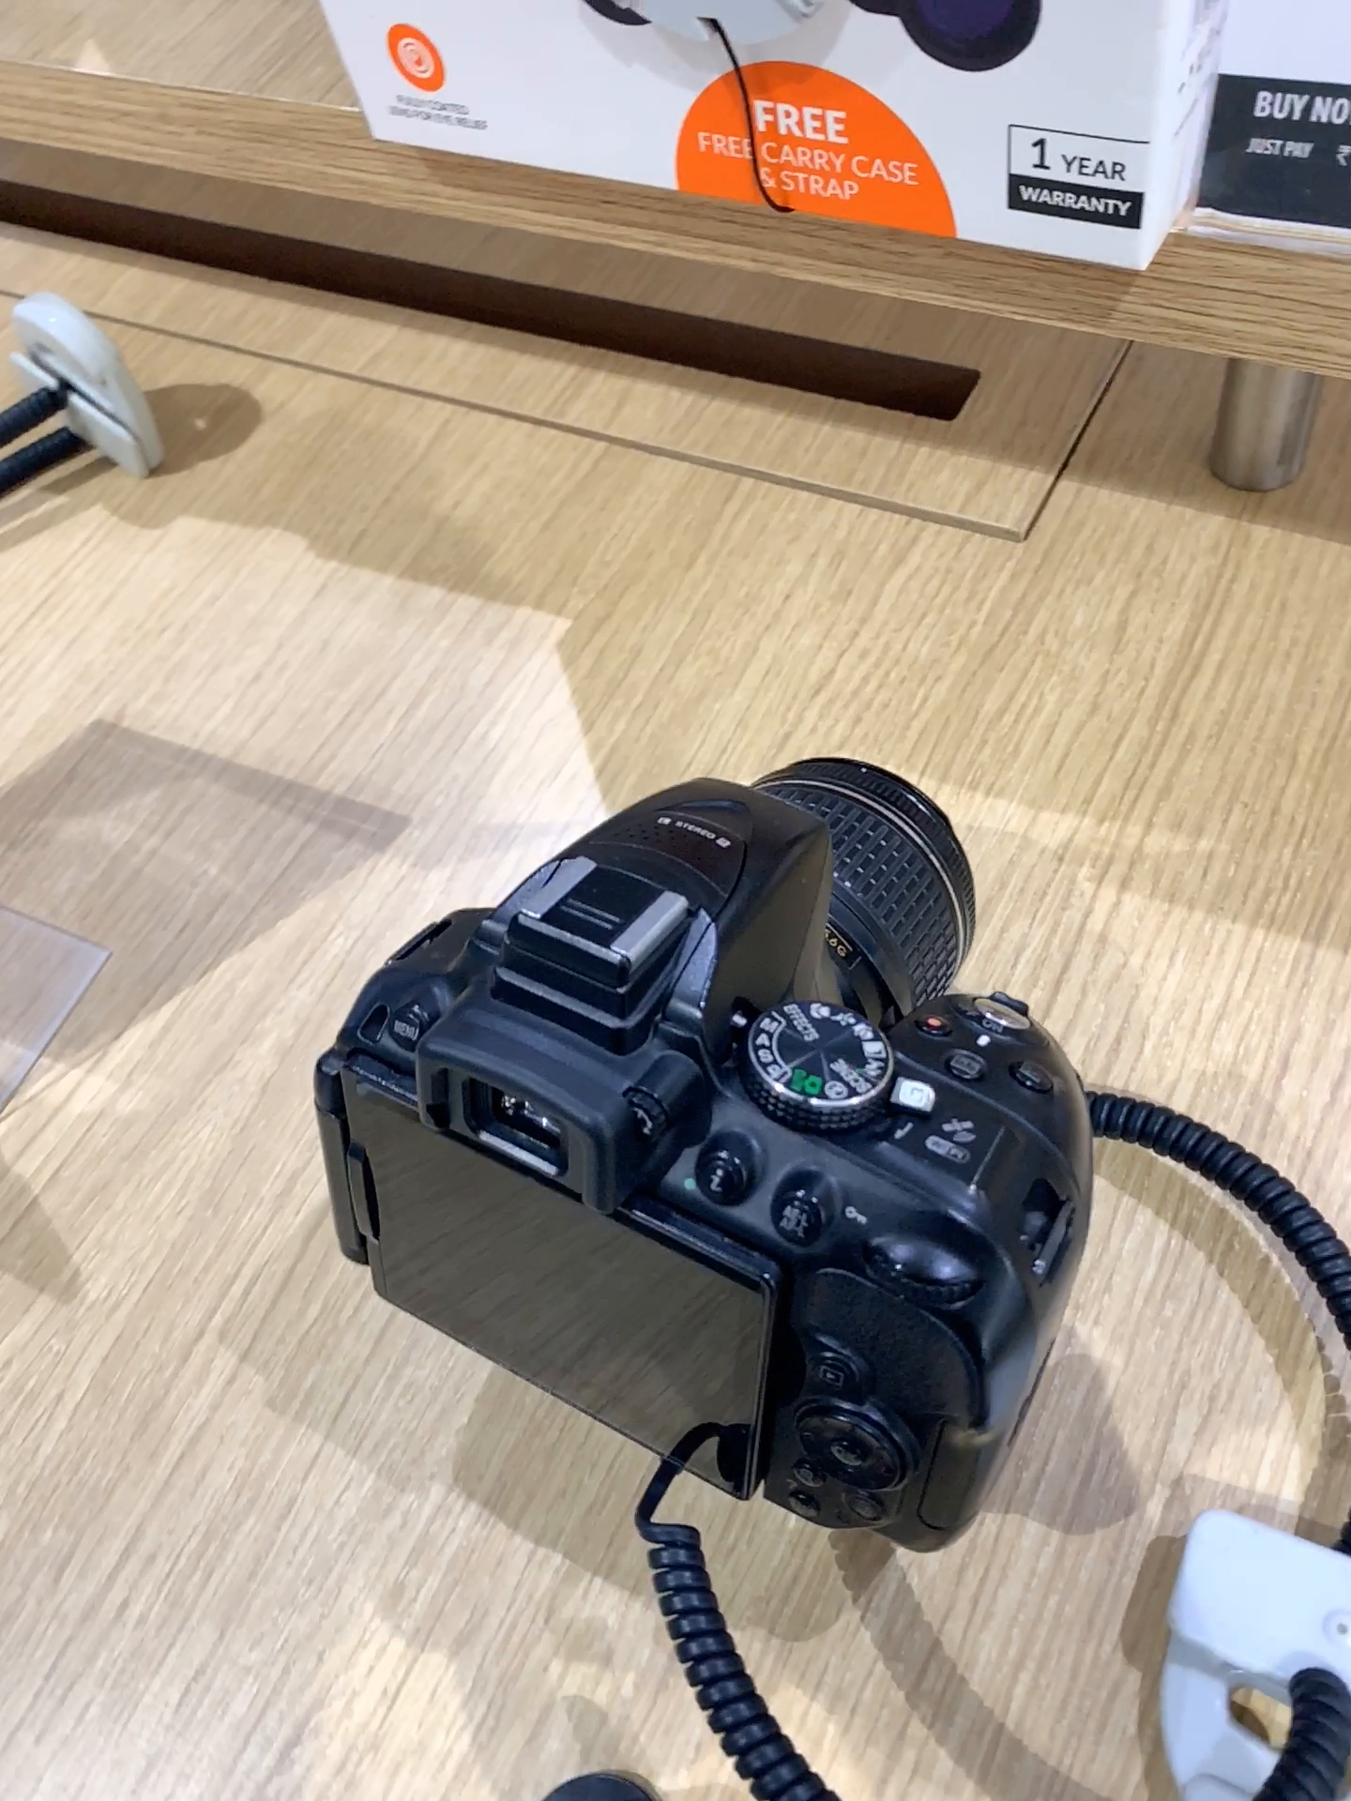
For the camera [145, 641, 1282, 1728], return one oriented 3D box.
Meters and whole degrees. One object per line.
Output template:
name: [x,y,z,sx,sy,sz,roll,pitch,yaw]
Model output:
camera: [0.010,0.032,0.229,0.130,0.080,0.110,21,42,23]
